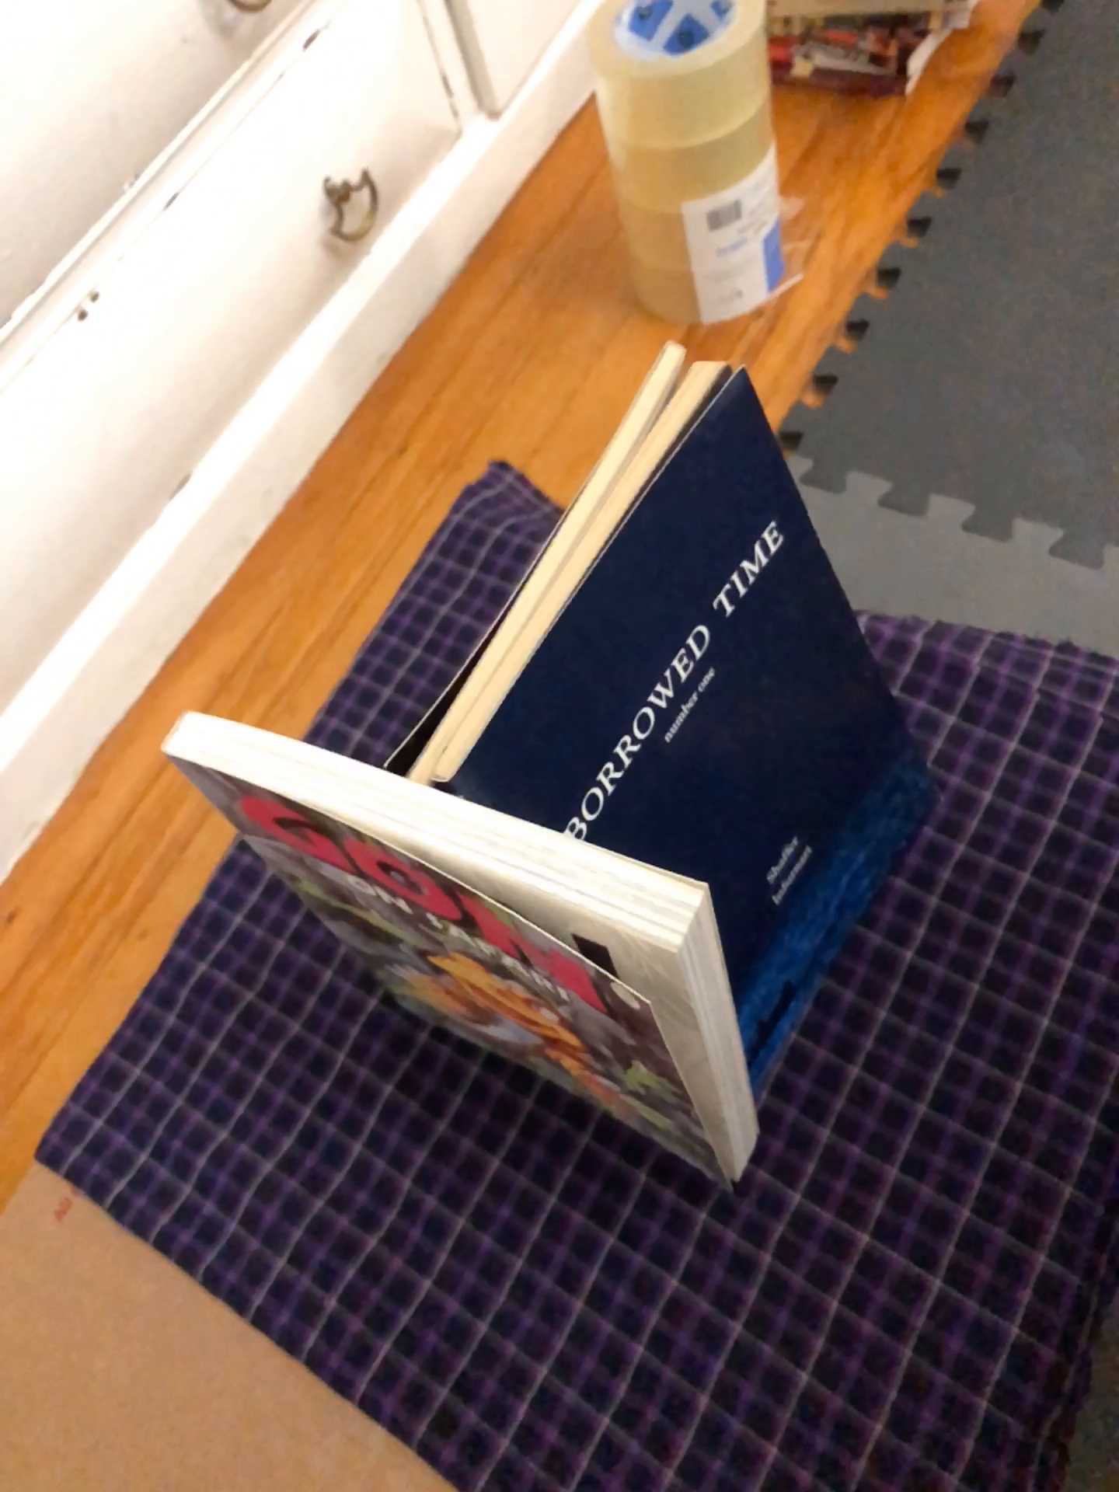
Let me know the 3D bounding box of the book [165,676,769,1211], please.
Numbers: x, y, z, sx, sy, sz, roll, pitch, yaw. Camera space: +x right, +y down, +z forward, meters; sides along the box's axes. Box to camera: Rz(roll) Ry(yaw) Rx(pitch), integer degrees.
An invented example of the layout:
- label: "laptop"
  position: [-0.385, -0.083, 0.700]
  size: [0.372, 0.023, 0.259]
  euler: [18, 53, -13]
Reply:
- label: "book"
  position: [-0.013, 0.065, 0.352]
  size: [0.140, 0.189, 0.020]
  euler: [19, 61, 24]

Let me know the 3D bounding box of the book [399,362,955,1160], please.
- label: "book"
  position: [0.054, 0.016, 0.370]
  size: [0.010, 0.199, 0.150]
  euler: [13, 62, 44]

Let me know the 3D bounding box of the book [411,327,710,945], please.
- label: "book"
  position: [-0.002, -0.018, 0.401]
  size: [0.010, 0.199, 0.140]
  euler: [27, 71, 6]
